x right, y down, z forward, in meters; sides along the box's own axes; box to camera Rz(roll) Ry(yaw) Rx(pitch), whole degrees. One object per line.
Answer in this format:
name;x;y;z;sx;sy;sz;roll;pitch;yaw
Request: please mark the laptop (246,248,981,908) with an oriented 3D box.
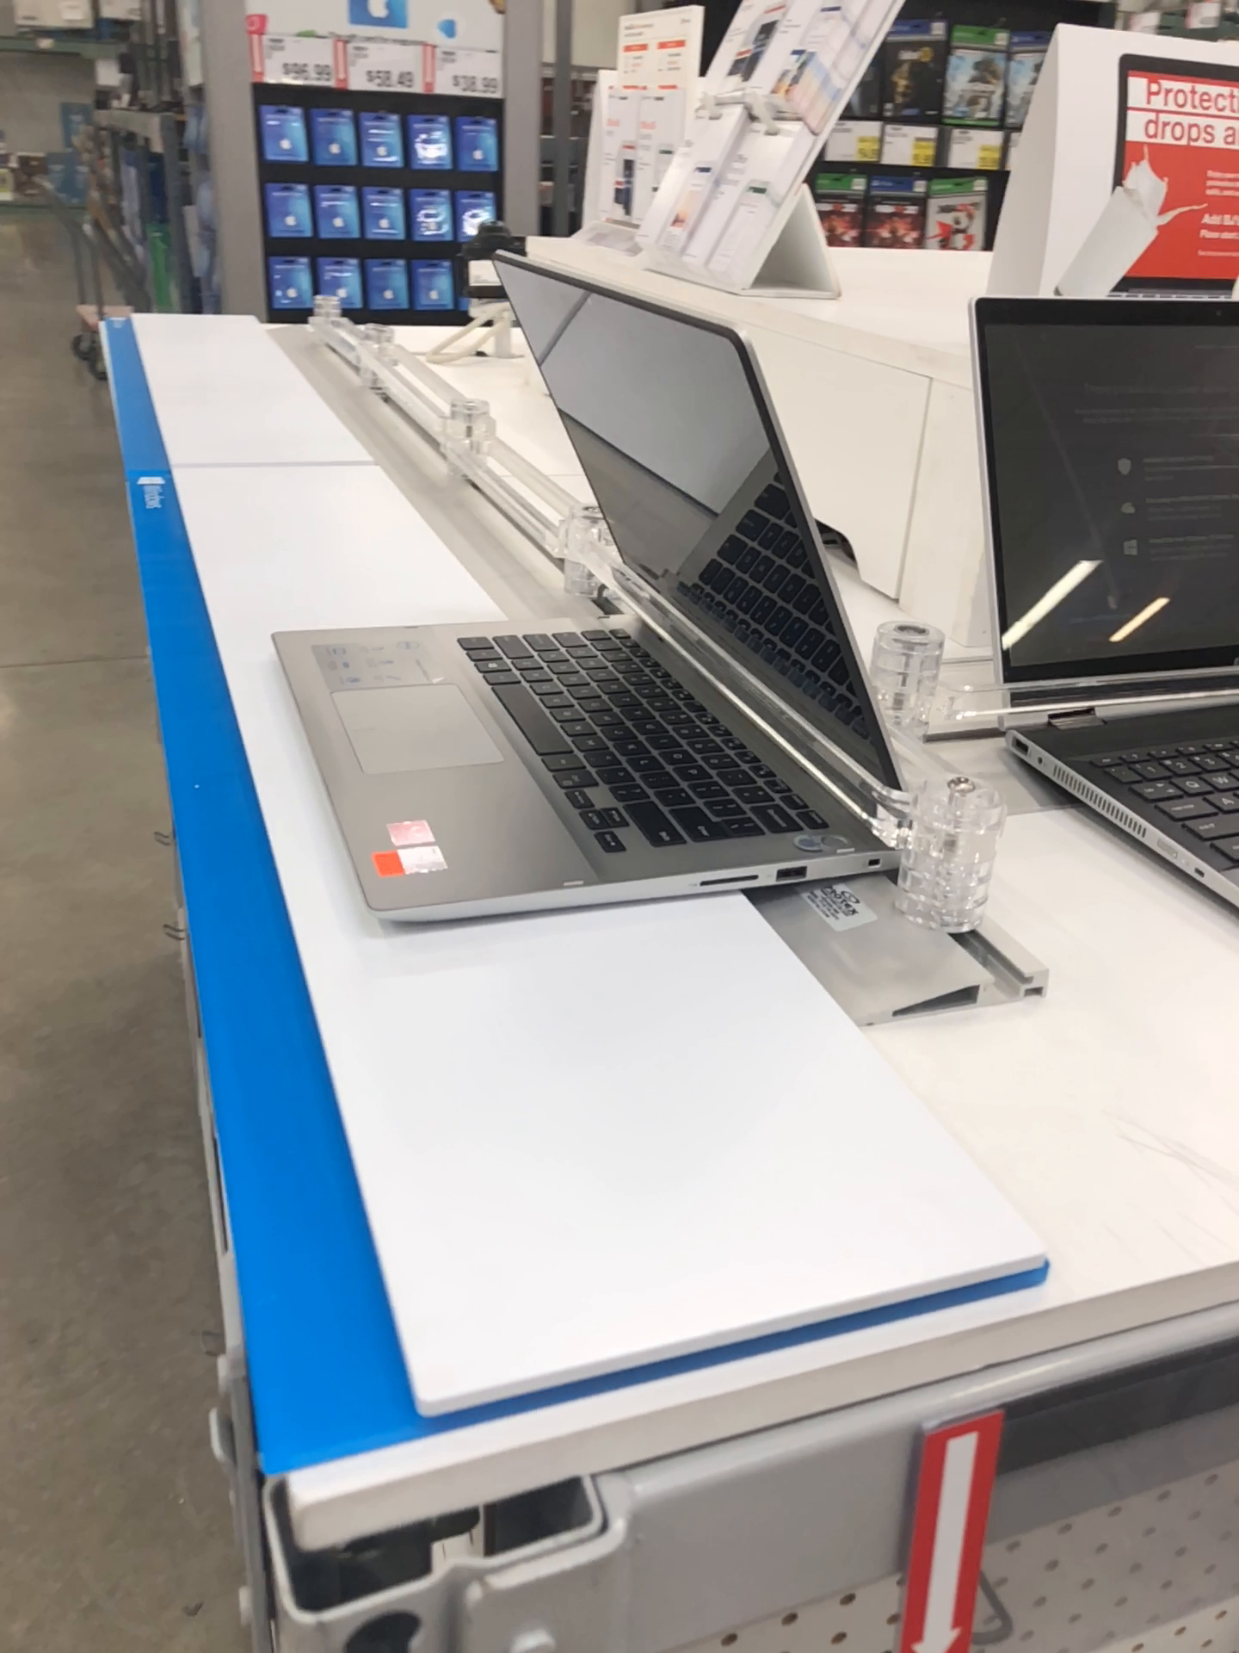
laptop;-0.035;-0.140;0.617;0.222;0.199;0.320;-6;27;-18
